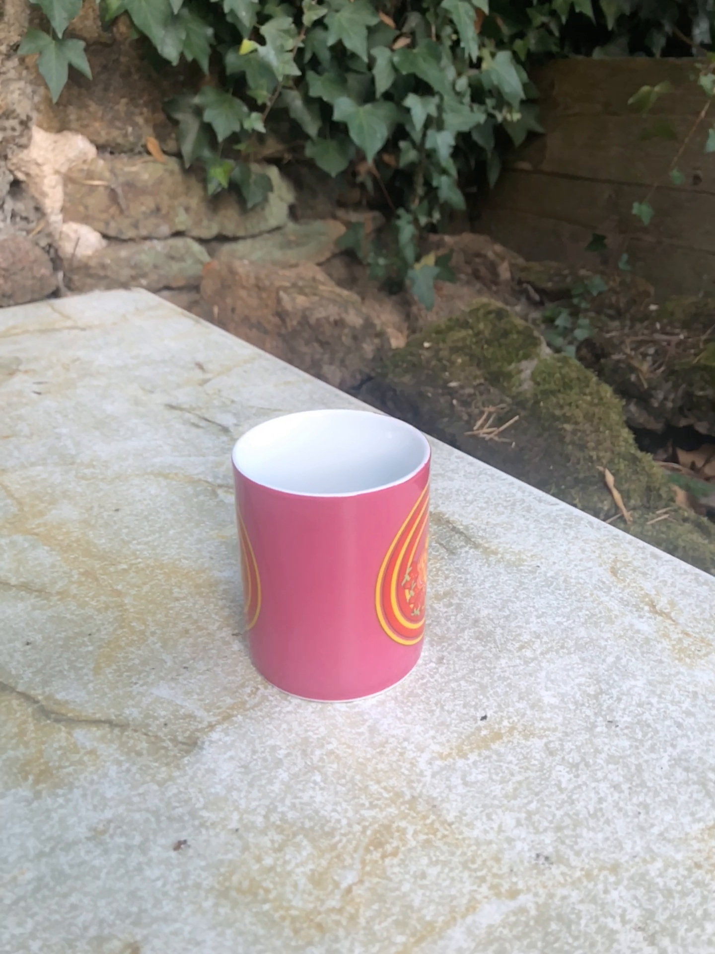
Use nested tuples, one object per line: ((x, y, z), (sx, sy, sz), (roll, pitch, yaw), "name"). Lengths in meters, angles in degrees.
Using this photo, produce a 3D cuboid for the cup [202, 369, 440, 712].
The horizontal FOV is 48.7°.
((-0.007, 0.019, 0.328), (0.076, 0.089, 0.116), (2, 29, 5), "cup")
